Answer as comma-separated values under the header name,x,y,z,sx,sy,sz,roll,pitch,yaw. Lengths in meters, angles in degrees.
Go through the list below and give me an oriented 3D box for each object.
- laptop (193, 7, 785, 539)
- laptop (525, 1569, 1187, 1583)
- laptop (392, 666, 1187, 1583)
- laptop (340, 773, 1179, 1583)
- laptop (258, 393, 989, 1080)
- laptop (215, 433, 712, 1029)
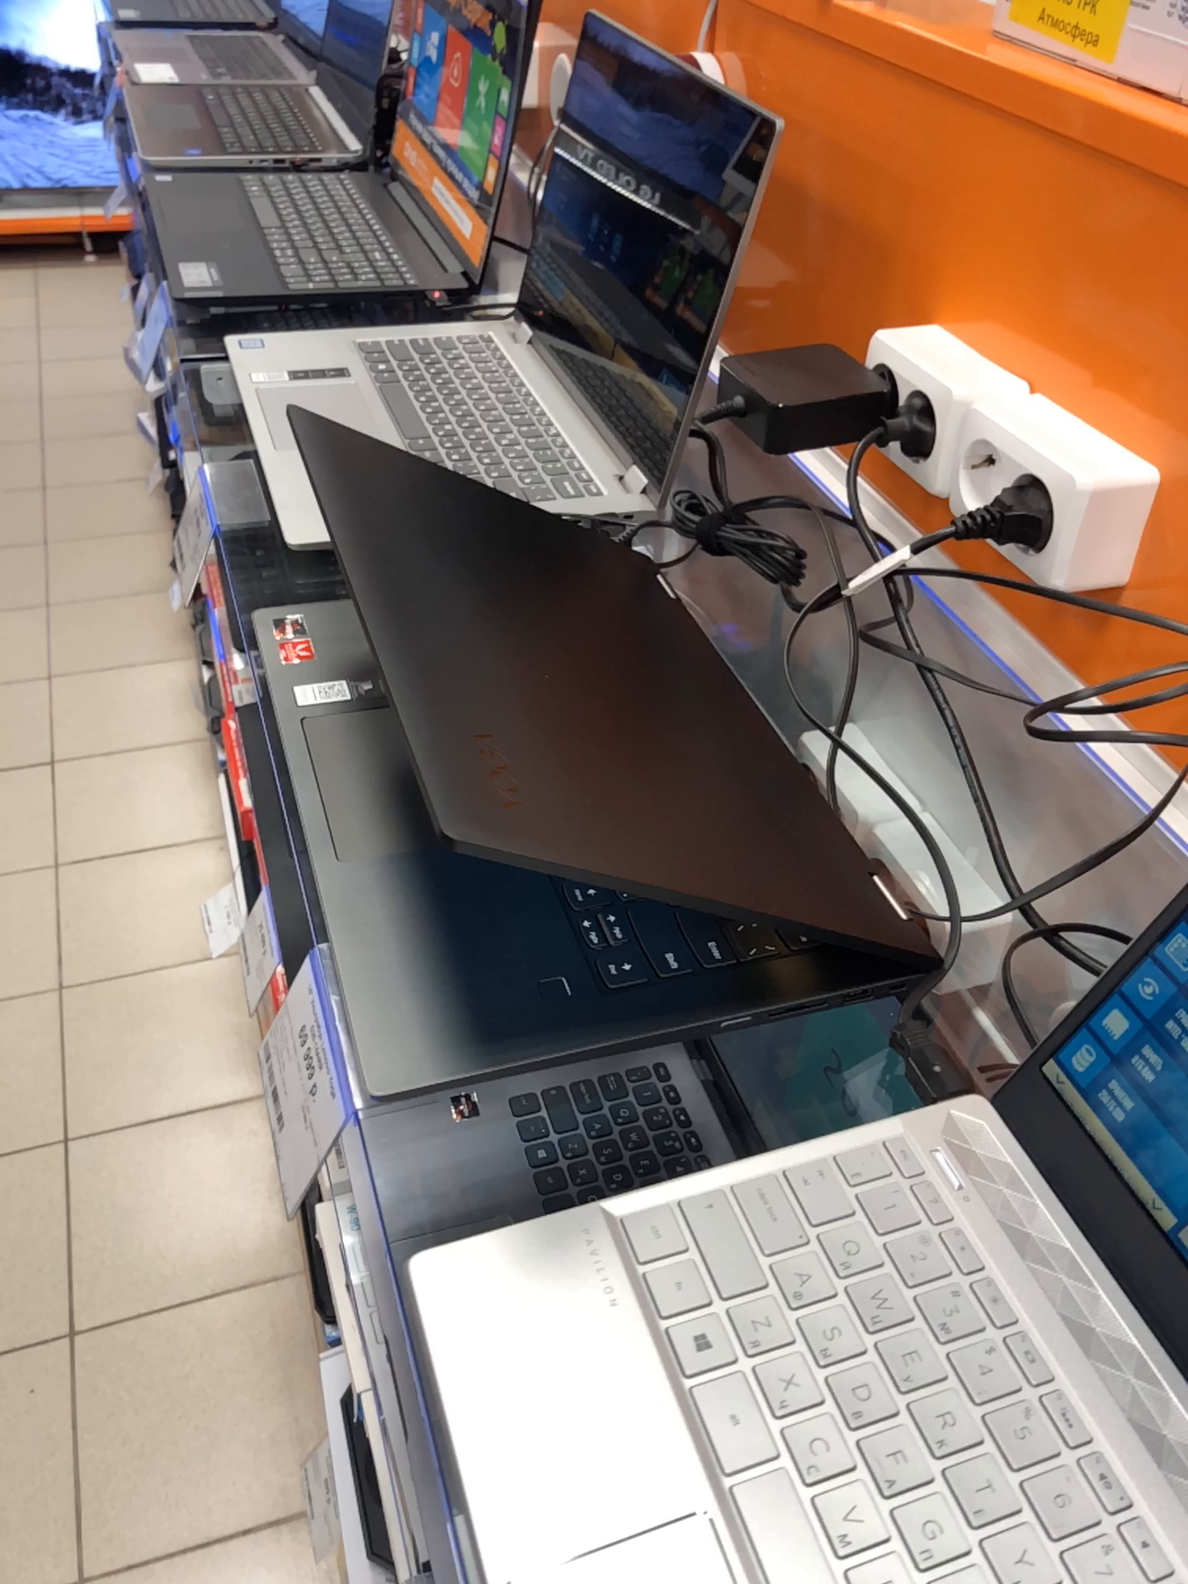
name,x,y,z,sx,sy,sz,roll,pitch,yaw
laptop,-0.086,-0.351,0.846,0.267,0.219,0.312,-10,41,-15
laptop,0.150,0.452,0.330,0.253,0.229,0.346,-7,39,-14
laptop,0.139,0.136,0.281,0.317,0.162,0.284,-10,38,-13
laptop,0.036,0.205,0.651,0.256,0.236,0.355,-9,39,-15
laptop,-0.016,-0.055,0.575,0.214,0.102,0.325,-10,40,-15
laptop,-0.114,-0.069,0.977,0.265,0.223,0.375,-10,41,-16
